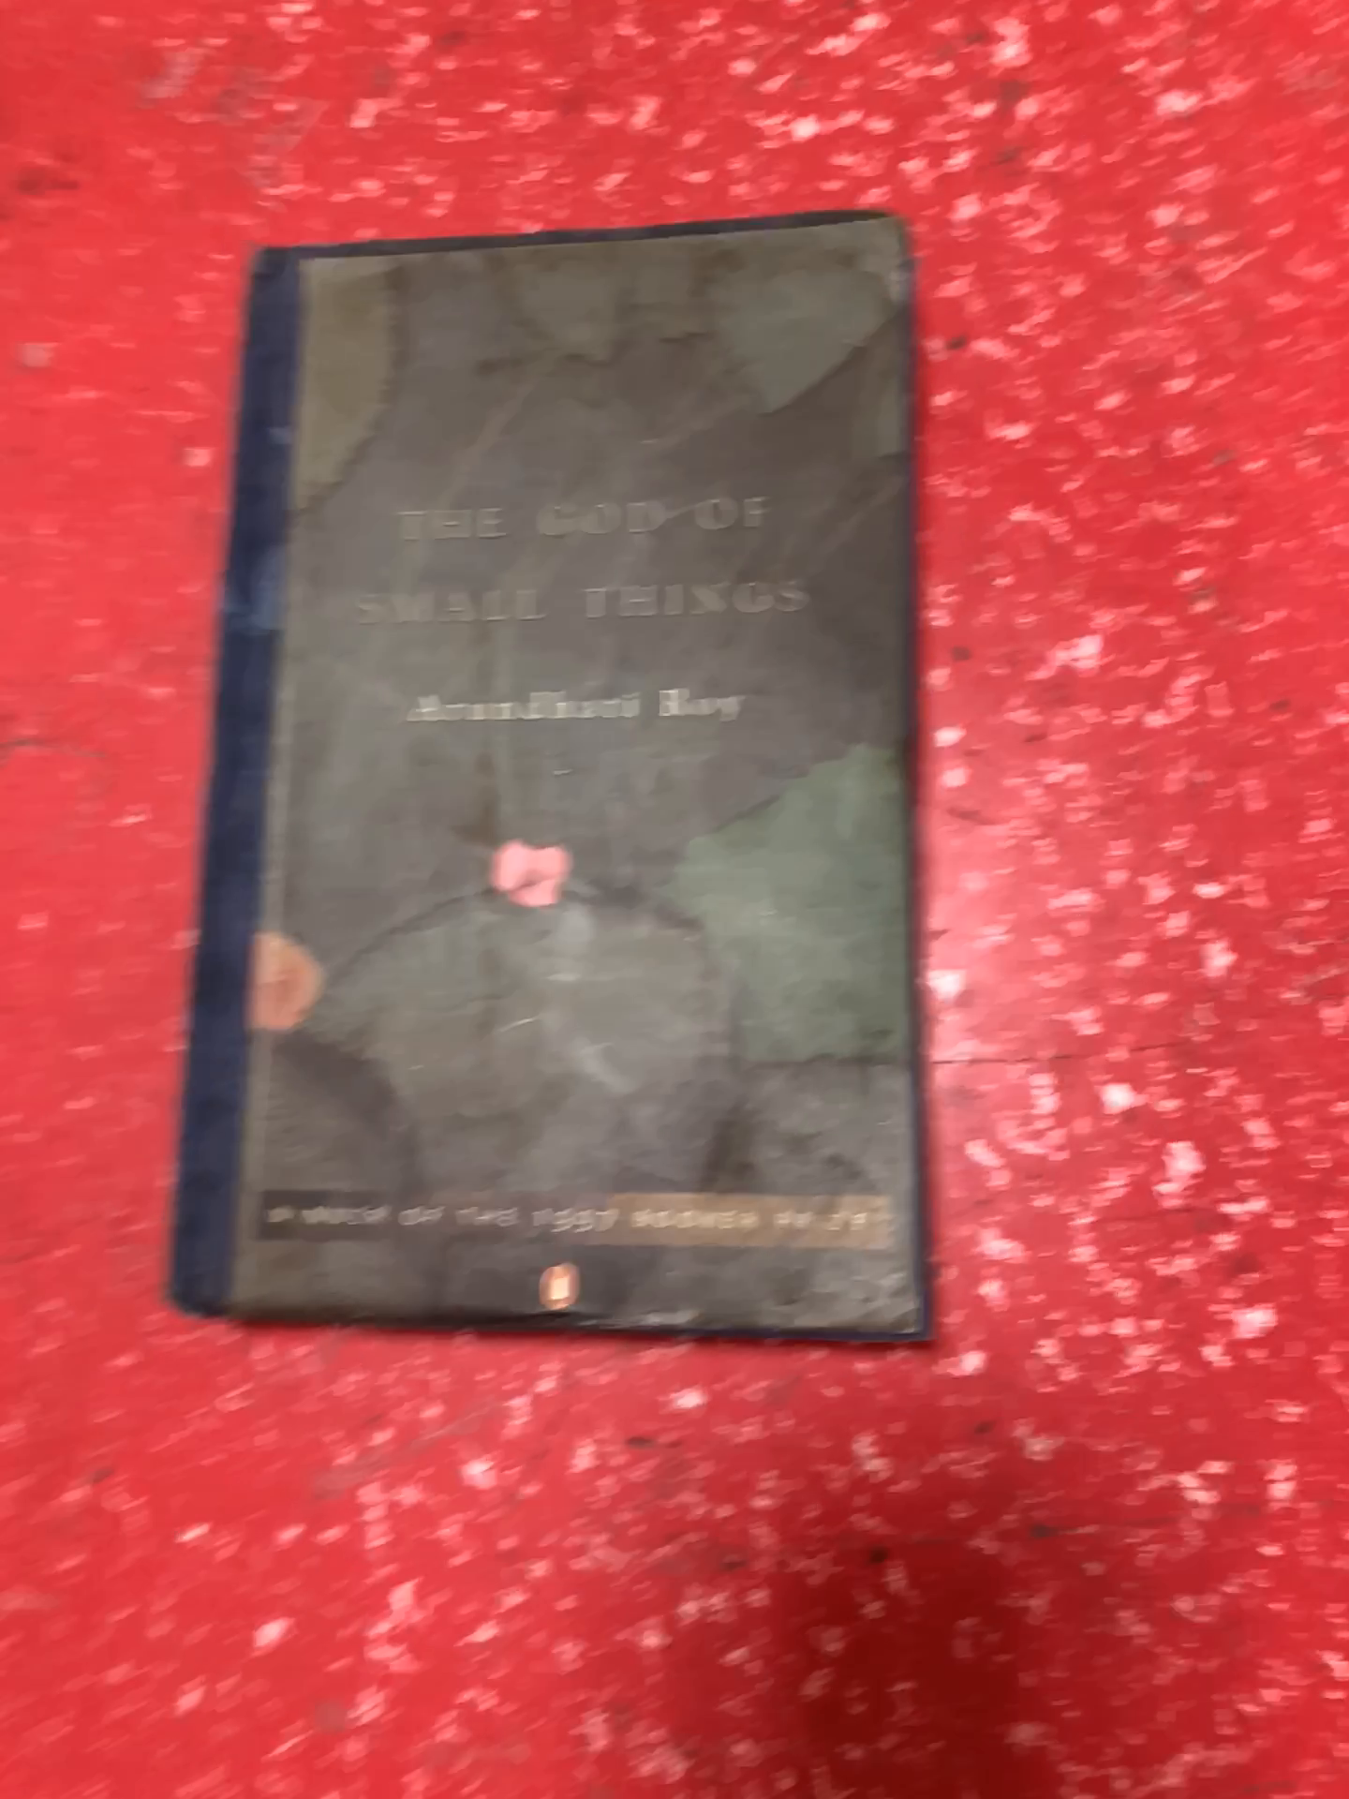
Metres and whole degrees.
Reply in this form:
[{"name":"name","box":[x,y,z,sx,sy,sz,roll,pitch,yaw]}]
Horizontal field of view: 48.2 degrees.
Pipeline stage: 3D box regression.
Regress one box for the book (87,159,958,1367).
[{"name":"book","box":[-0.022,-0.029,0.295,0.150,0.040,0.220,0,78,9]}]
